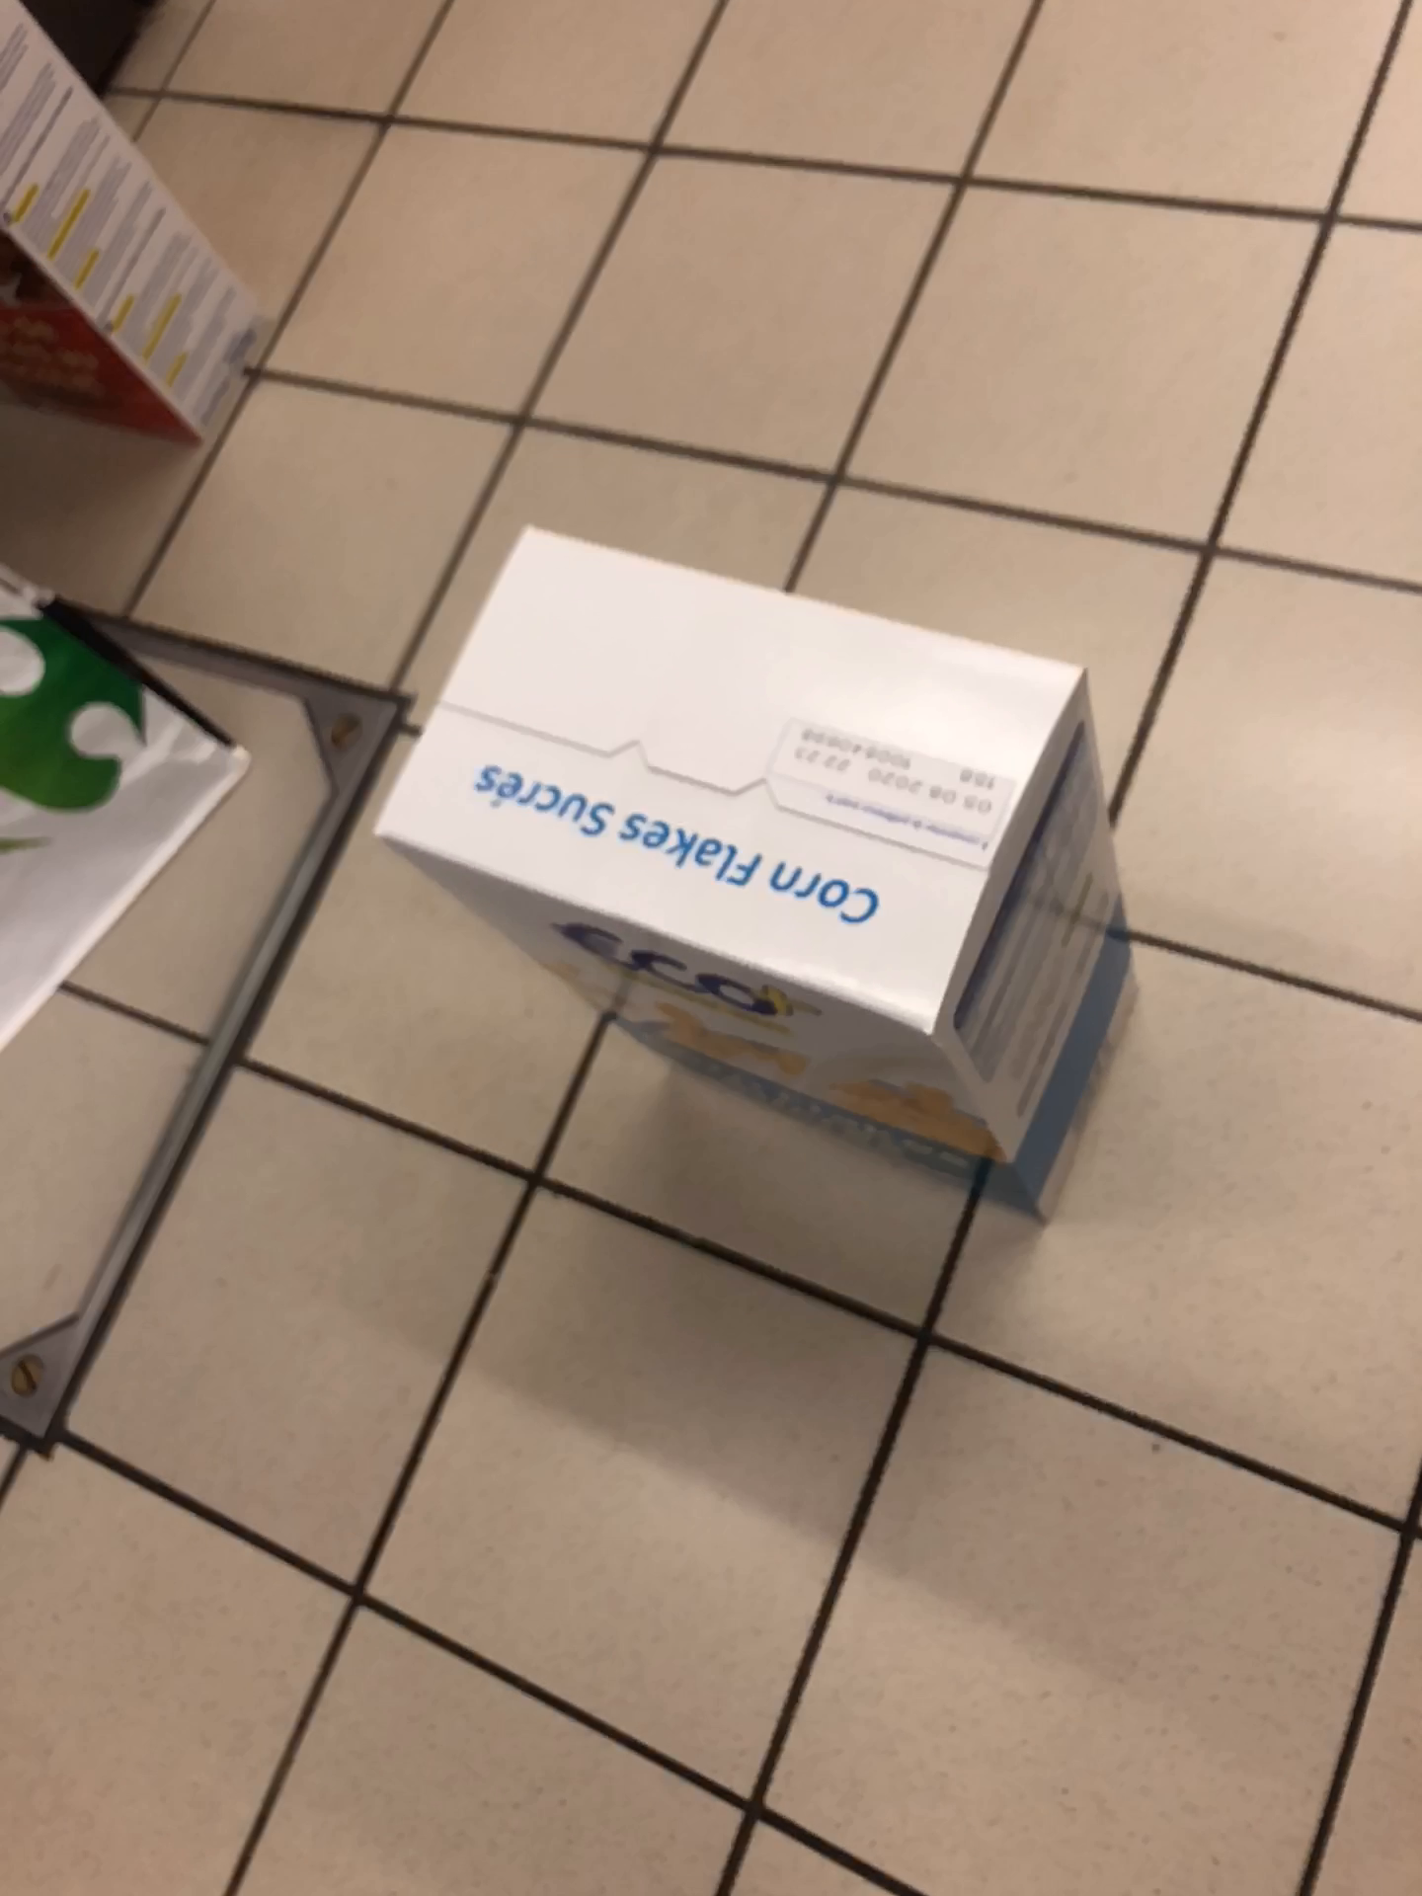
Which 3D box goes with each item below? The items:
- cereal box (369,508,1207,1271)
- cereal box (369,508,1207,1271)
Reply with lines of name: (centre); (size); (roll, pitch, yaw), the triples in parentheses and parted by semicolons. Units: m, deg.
cereal box: (0.057, -0.002, 0.587); (0.210, 0.300, 0.130); (20, 78, 23)
cereal box: (0.057, -0.002, 0.587); (0.210, 0.300, 0.130); (20, 78, 23)
